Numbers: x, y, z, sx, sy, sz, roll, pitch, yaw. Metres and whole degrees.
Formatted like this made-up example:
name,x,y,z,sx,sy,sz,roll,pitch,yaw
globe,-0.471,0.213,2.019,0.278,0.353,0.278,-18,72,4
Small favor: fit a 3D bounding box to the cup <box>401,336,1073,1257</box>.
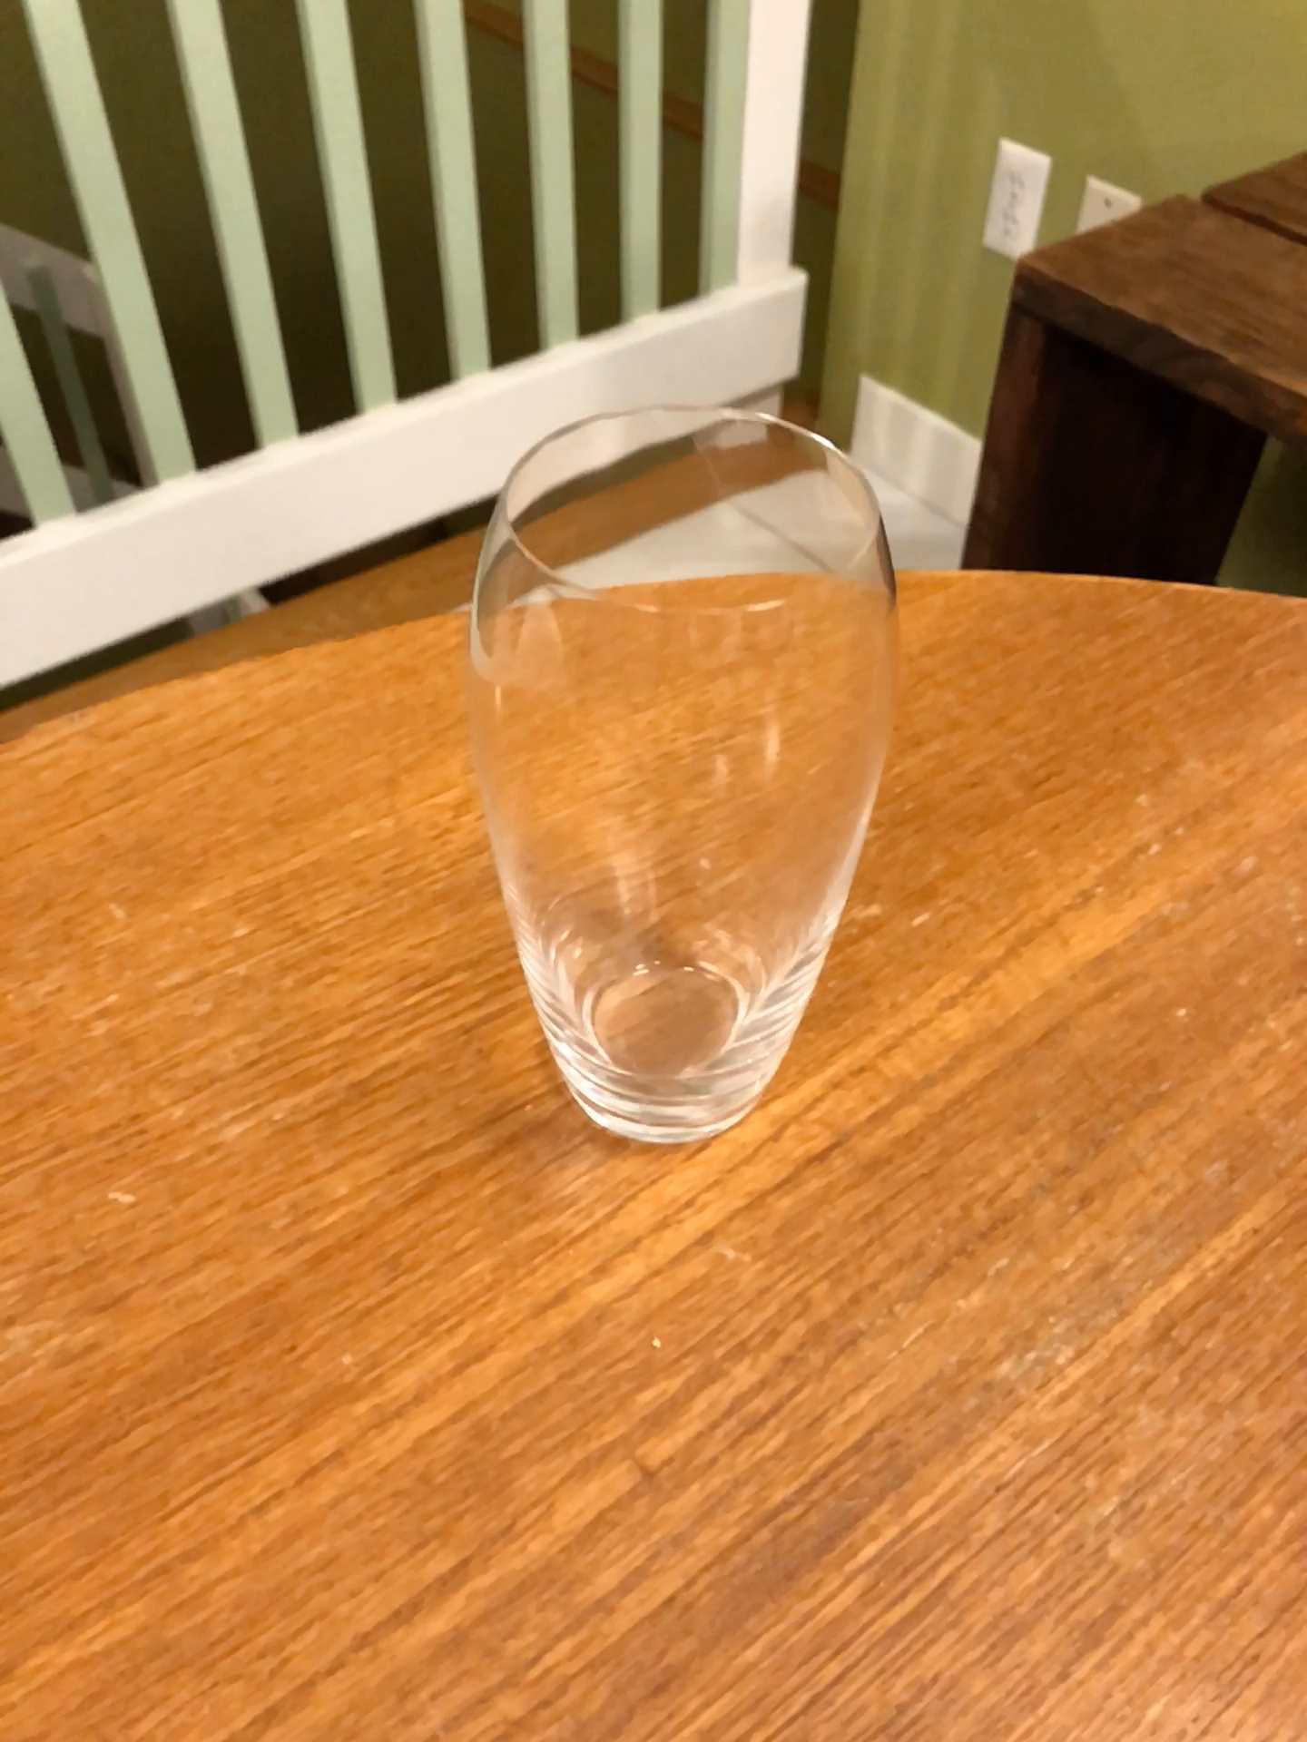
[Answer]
name,x,y,z,sx,sy,sz,roll,pitch,yaw
cup,0.012,-0.010,0.302,0.081,0.156,0.082,1,46,-1
